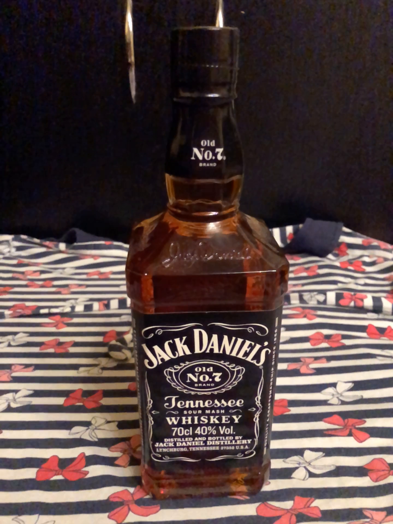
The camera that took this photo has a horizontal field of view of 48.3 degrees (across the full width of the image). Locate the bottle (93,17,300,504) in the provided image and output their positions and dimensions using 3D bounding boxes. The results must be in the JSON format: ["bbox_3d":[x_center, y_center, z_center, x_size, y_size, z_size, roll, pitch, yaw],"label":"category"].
[{"bbox_3d":[0.000,0.011,0.239,0.074,0.246,0.073,-1,24,0],"label":"bottle"}]
